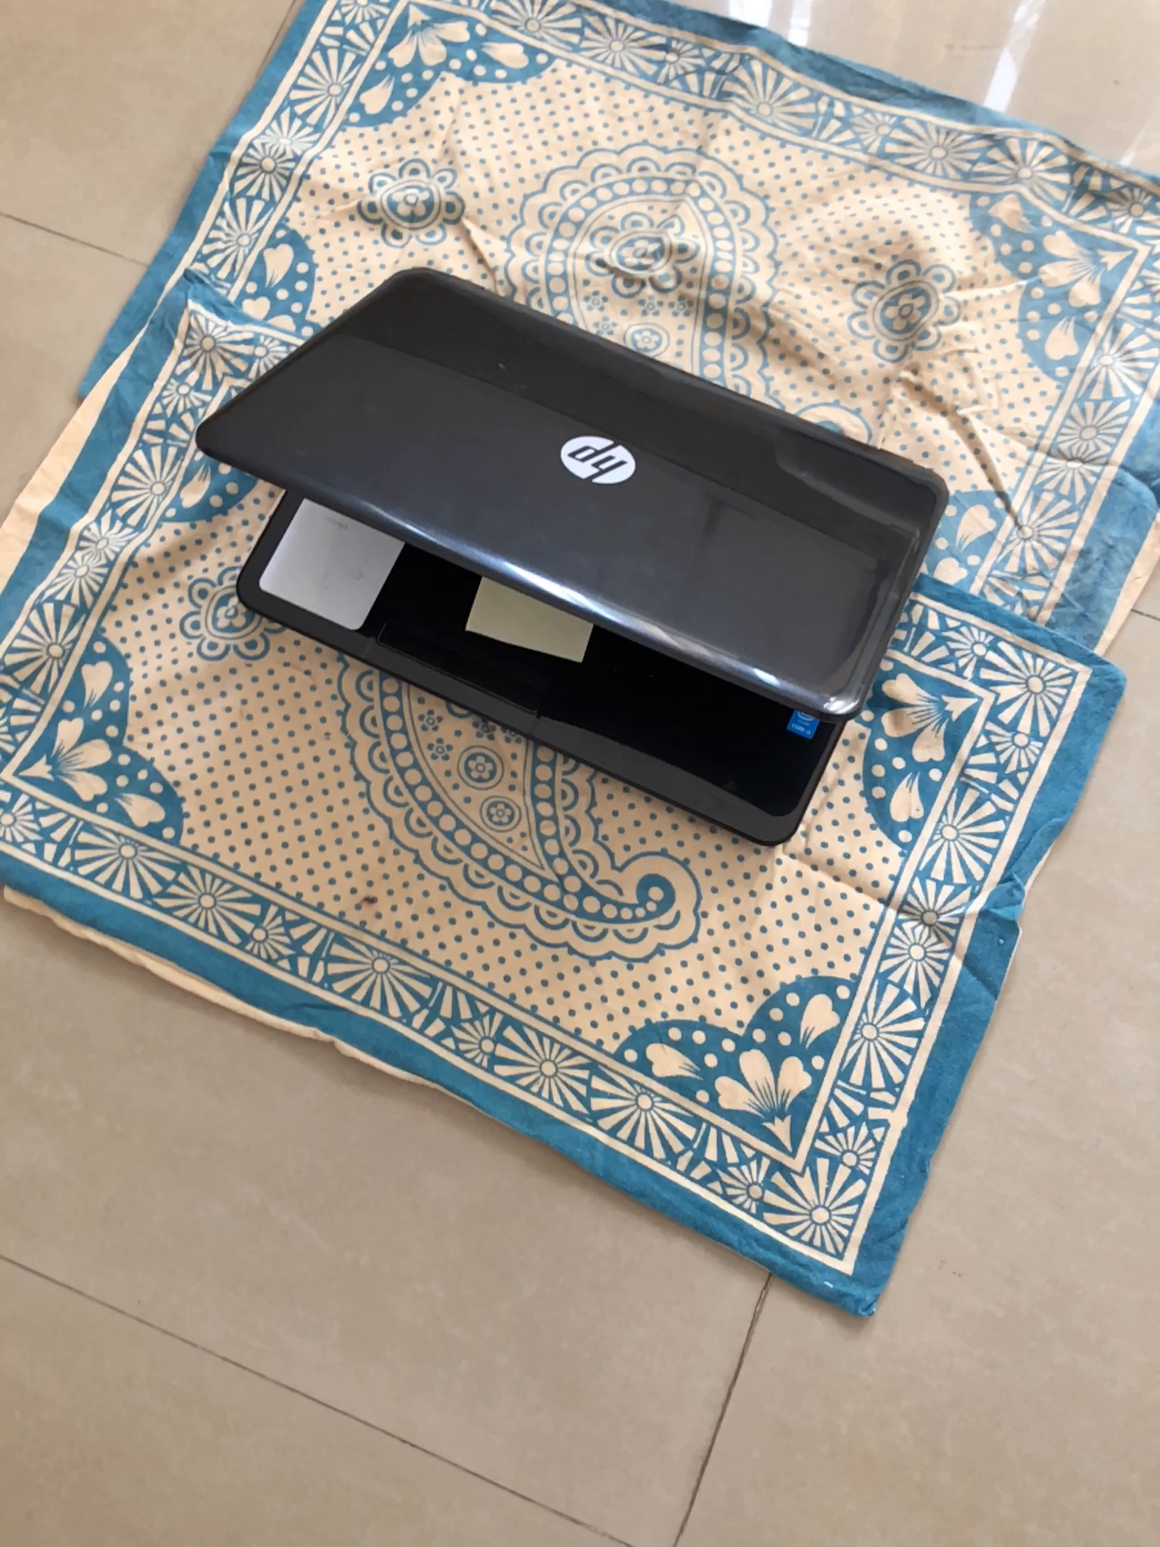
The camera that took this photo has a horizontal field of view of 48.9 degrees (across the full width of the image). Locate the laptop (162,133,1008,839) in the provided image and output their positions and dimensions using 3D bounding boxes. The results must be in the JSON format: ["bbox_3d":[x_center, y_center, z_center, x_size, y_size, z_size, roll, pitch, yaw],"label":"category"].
[{"bbox_3d":[0.005,-0.157,0.713,0.363,0.151,0.237,25,77,10],"label":"laptop"}]
